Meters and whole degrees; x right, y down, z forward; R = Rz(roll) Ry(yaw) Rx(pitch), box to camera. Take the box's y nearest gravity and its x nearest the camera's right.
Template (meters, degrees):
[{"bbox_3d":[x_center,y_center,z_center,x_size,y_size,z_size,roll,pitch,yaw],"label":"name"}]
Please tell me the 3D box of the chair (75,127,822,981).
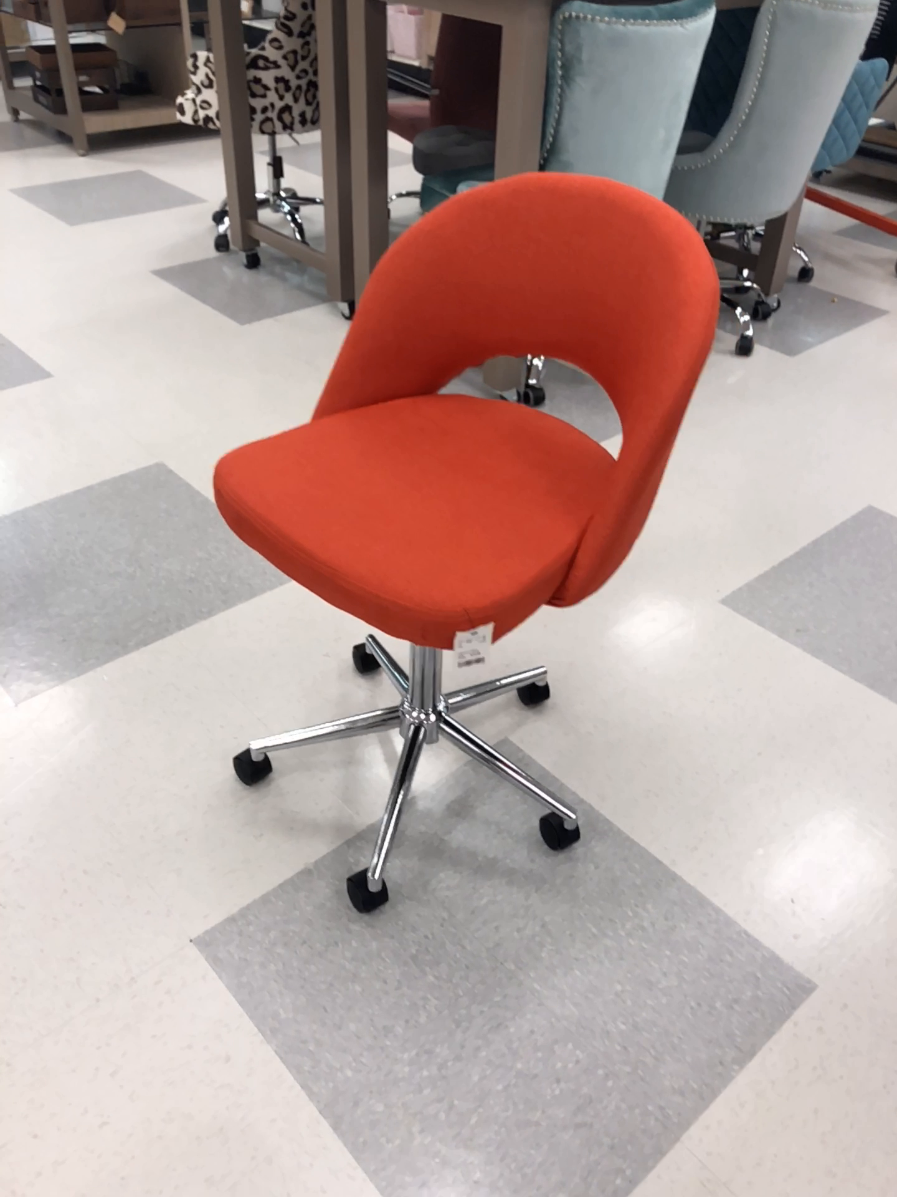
[{"bbox_3d":[-0.012,-0.102,1.376,0.609,0.858,0.601,-28,46,-35],"label":"chair"}]
